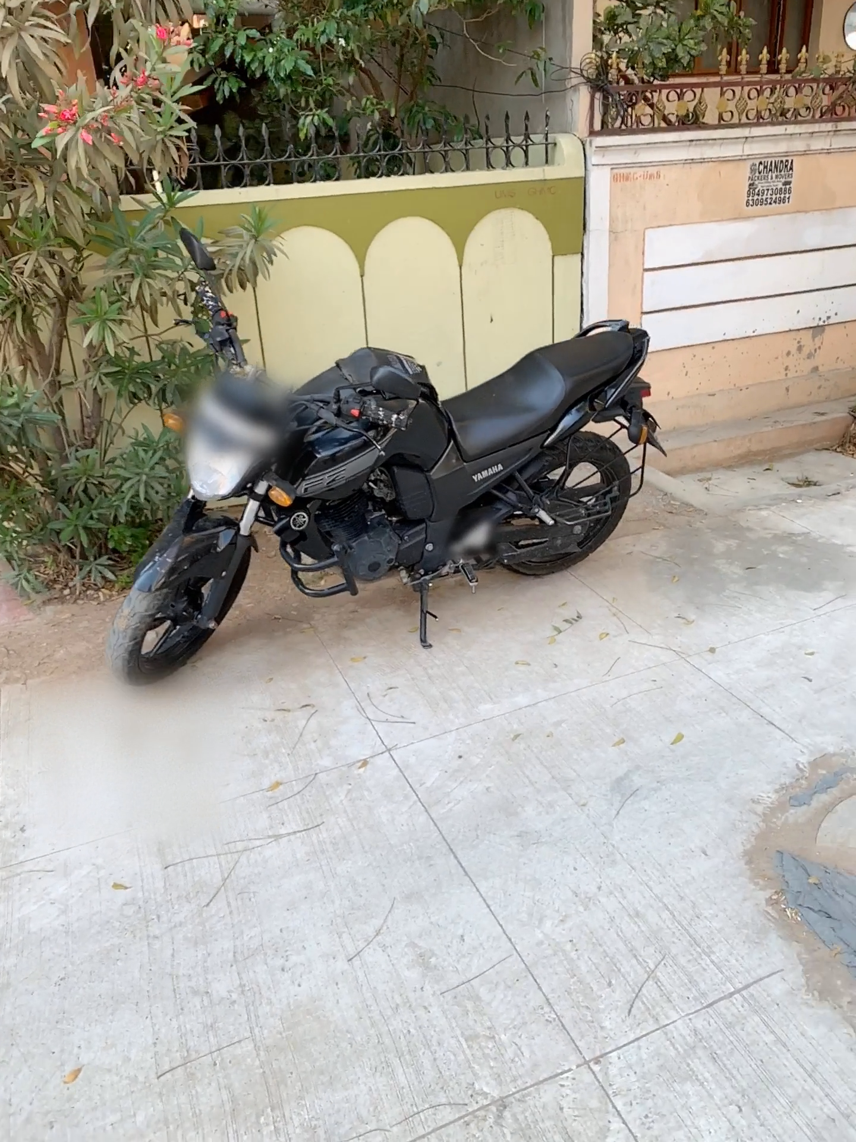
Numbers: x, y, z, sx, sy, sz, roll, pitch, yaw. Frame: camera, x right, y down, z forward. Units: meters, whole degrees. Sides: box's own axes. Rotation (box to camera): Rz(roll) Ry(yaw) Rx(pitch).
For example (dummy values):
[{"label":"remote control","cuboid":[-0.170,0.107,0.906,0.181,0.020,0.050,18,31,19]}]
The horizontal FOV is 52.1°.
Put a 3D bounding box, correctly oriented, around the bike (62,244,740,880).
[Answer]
[{"label":"bike","cuboid":[-0.048,-0.165,2.490,1.683,1.076,0.749,-19,28,-20]}]
